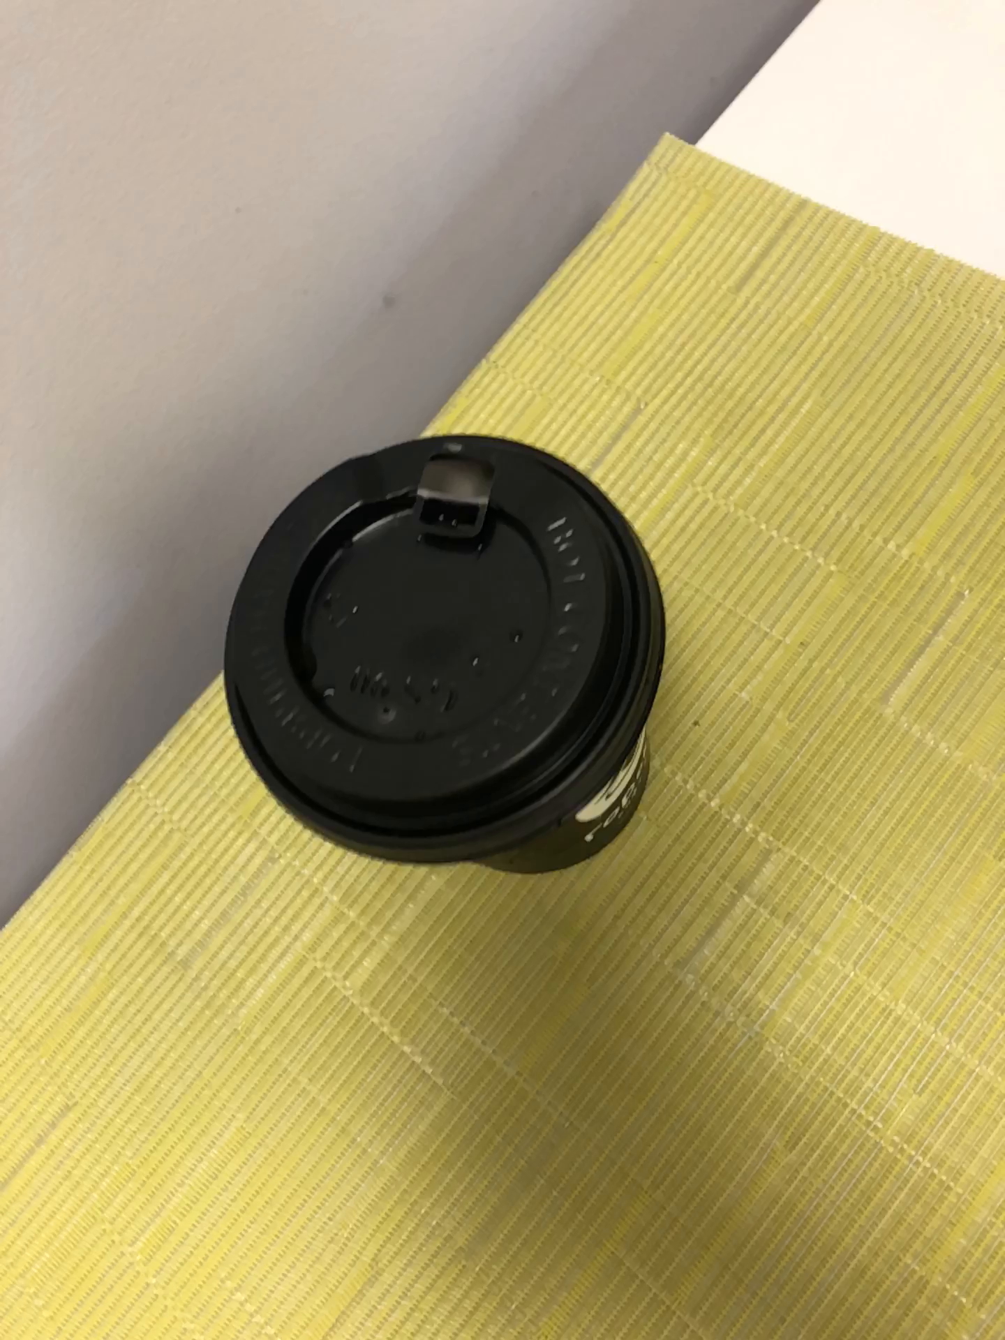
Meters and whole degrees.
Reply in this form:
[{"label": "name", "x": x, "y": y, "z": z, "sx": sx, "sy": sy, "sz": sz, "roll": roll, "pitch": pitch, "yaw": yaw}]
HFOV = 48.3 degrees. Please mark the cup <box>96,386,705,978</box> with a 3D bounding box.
[{"label": "cup", "x": -0.012, "y": 0.010, "z": 0.283, "sx": 0.090, "sy": 0.120, "sz": 0.092, "roll": -5, "pitch": 69, "yaw": 13}]
